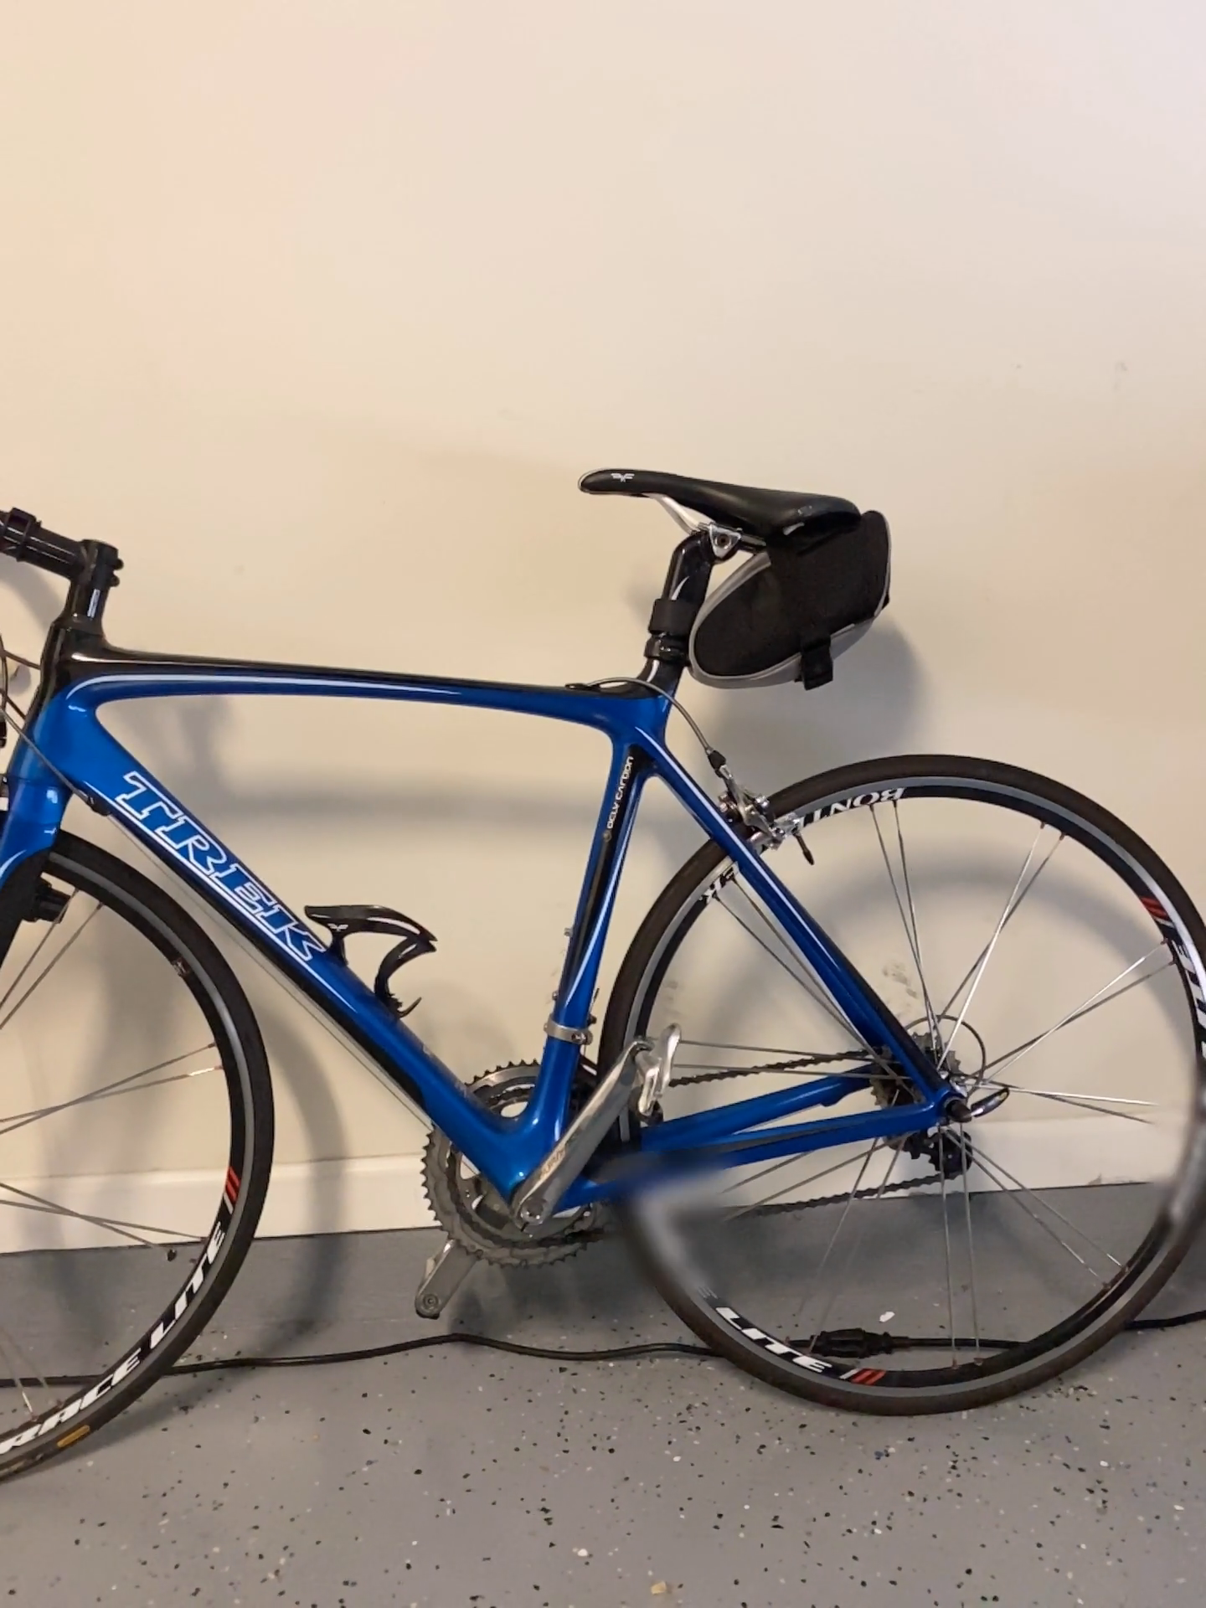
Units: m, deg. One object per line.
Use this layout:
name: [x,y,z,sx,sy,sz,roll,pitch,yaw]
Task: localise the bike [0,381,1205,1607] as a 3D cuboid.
bike: [-0.070,0.228,1.104,1.638,0.883,0.401,1,8,-17]
